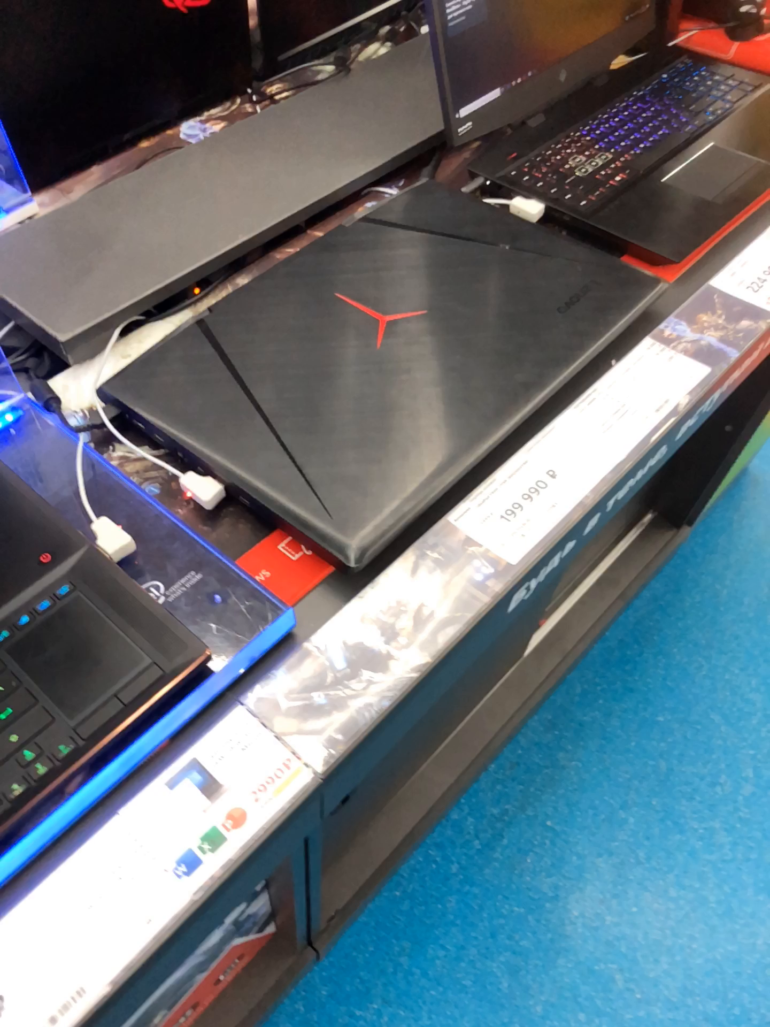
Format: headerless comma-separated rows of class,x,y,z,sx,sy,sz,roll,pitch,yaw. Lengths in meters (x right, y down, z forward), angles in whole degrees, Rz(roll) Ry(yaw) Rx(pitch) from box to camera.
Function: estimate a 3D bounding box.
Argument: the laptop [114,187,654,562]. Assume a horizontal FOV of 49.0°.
laptop,0.011,-0.153,0.728,0.270,0.005,0.400,33,58,26
